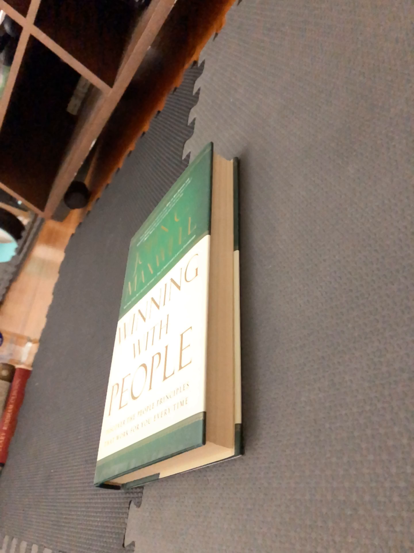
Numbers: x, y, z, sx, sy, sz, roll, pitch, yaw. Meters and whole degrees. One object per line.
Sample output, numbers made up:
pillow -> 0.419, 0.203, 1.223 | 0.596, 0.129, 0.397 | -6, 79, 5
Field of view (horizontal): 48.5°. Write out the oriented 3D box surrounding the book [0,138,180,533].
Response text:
book -> -0.099, 0.052, 0.394 | 0.200, 0.030, 0.291 | -38, 38, 47
